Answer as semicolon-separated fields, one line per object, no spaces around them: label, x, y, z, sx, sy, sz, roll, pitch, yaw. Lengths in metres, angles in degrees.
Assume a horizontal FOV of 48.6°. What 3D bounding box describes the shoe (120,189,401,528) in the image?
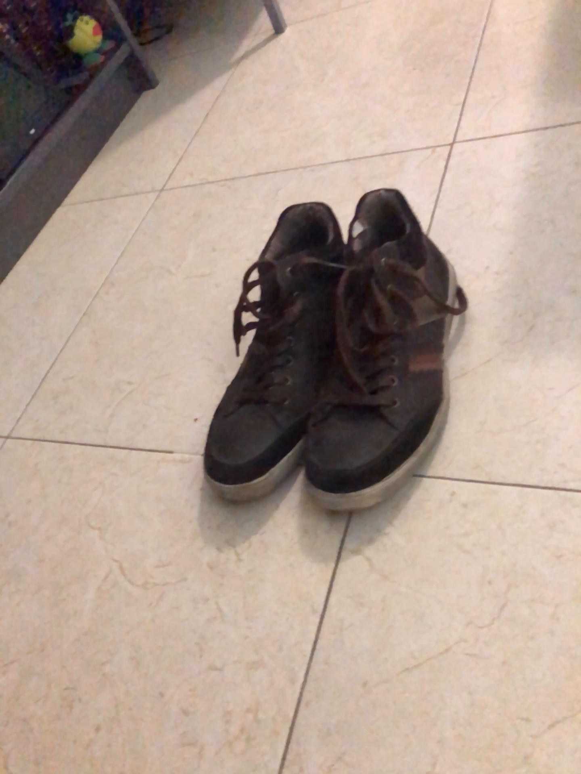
shoe;-0.012;-0.040;0.605;0.120;0.110;0.300;6;57;32

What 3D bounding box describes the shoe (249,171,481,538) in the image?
shoe;0.081;-0.037;0.555;0.120;0.110;0.301;-2;52;27
